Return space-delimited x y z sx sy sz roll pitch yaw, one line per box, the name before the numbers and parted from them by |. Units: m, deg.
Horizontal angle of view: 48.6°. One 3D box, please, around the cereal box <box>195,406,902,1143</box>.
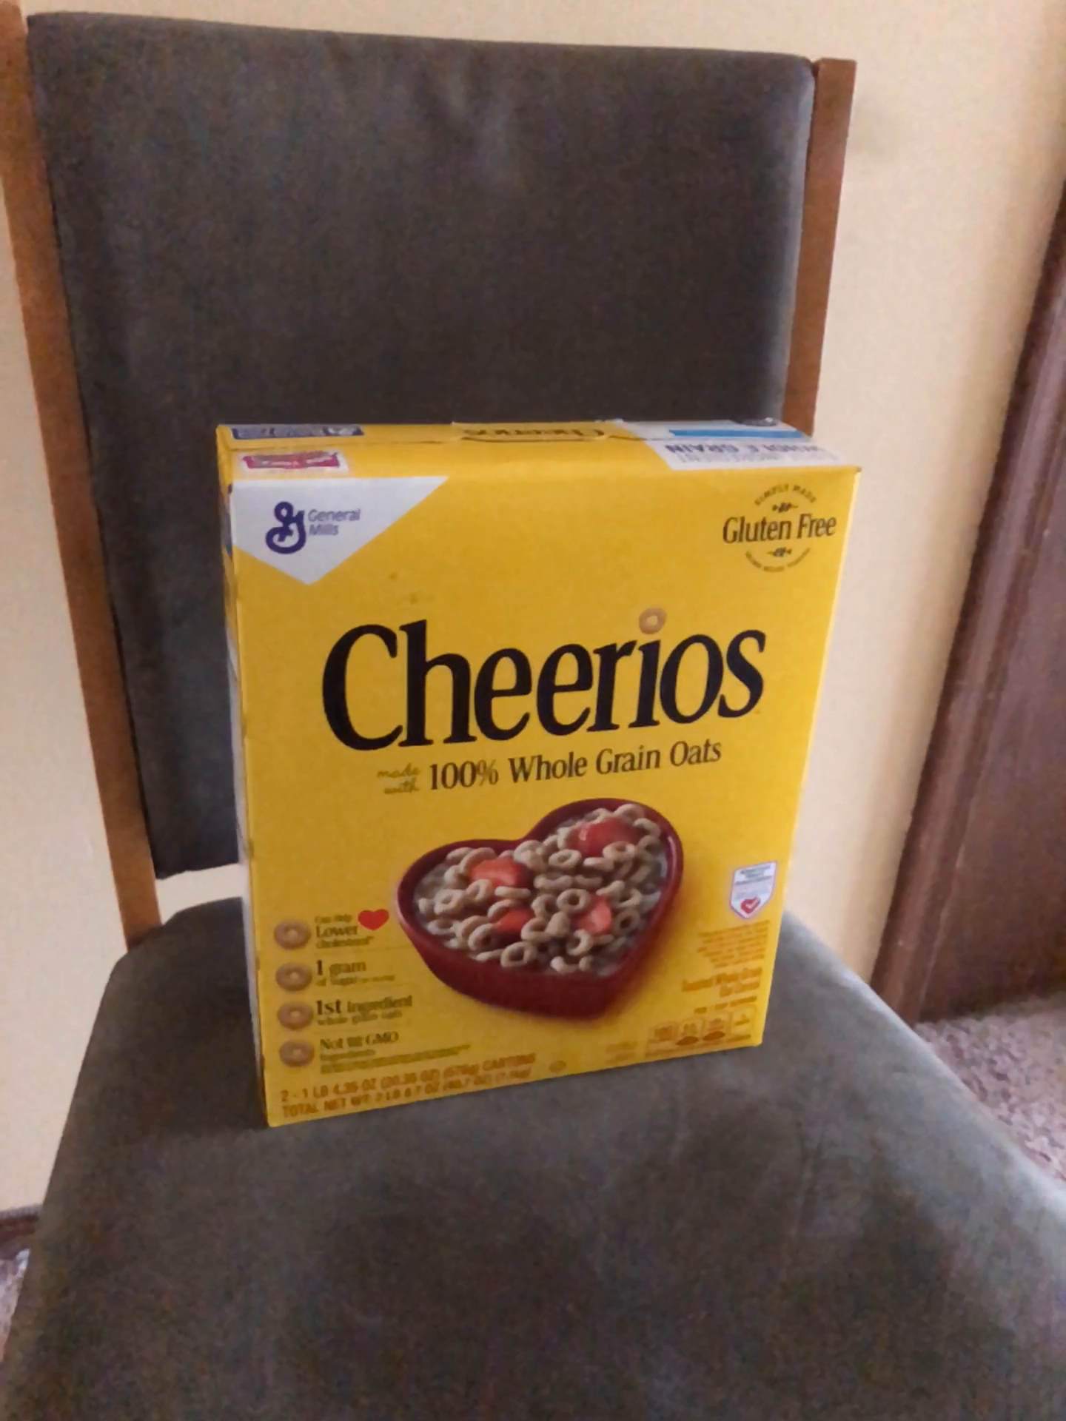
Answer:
cereal box | -0.003 0.027 0.525 0.260 0.299 0.090 -5 28 -15
